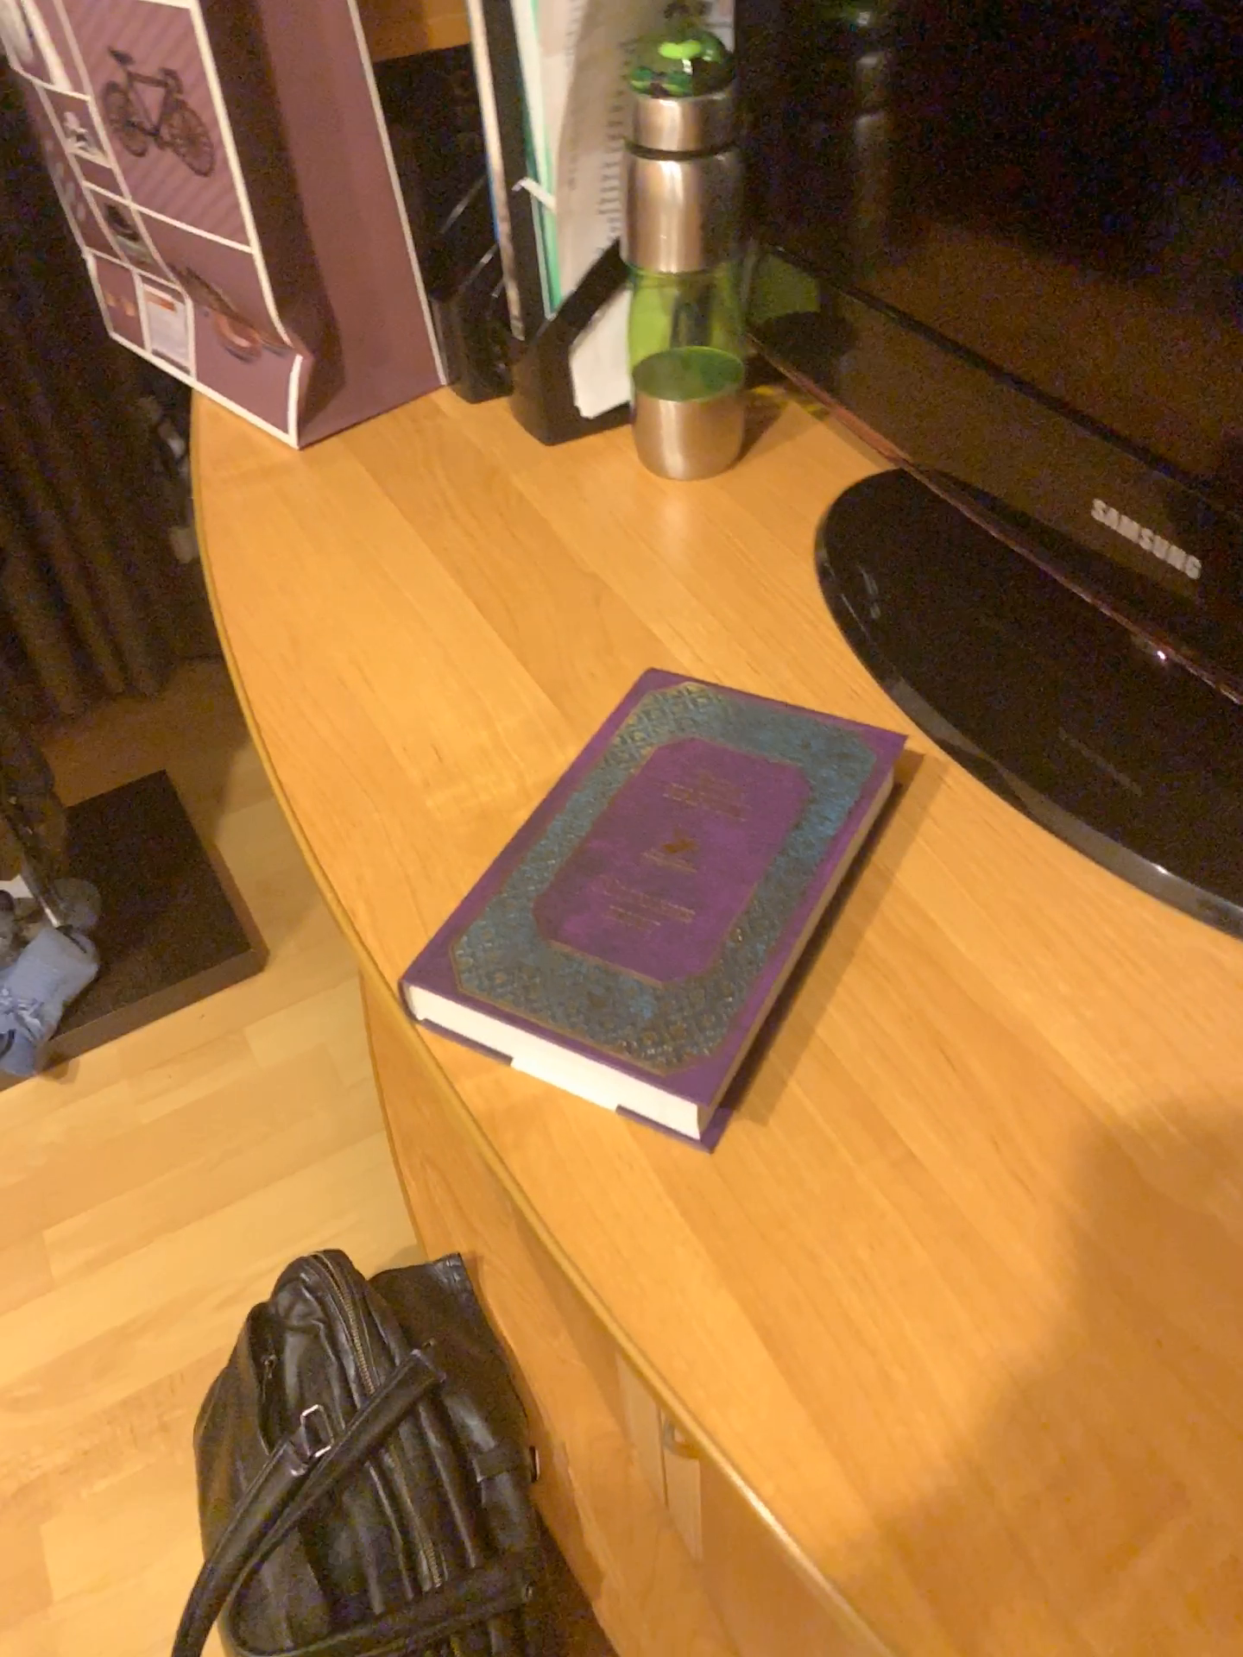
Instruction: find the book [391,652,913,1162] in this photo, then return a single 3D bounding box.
[{"bbox_3d":[0.021,0.018,0.515,0.130,0.040,0.201,19,51,22],"label":"book"}]
